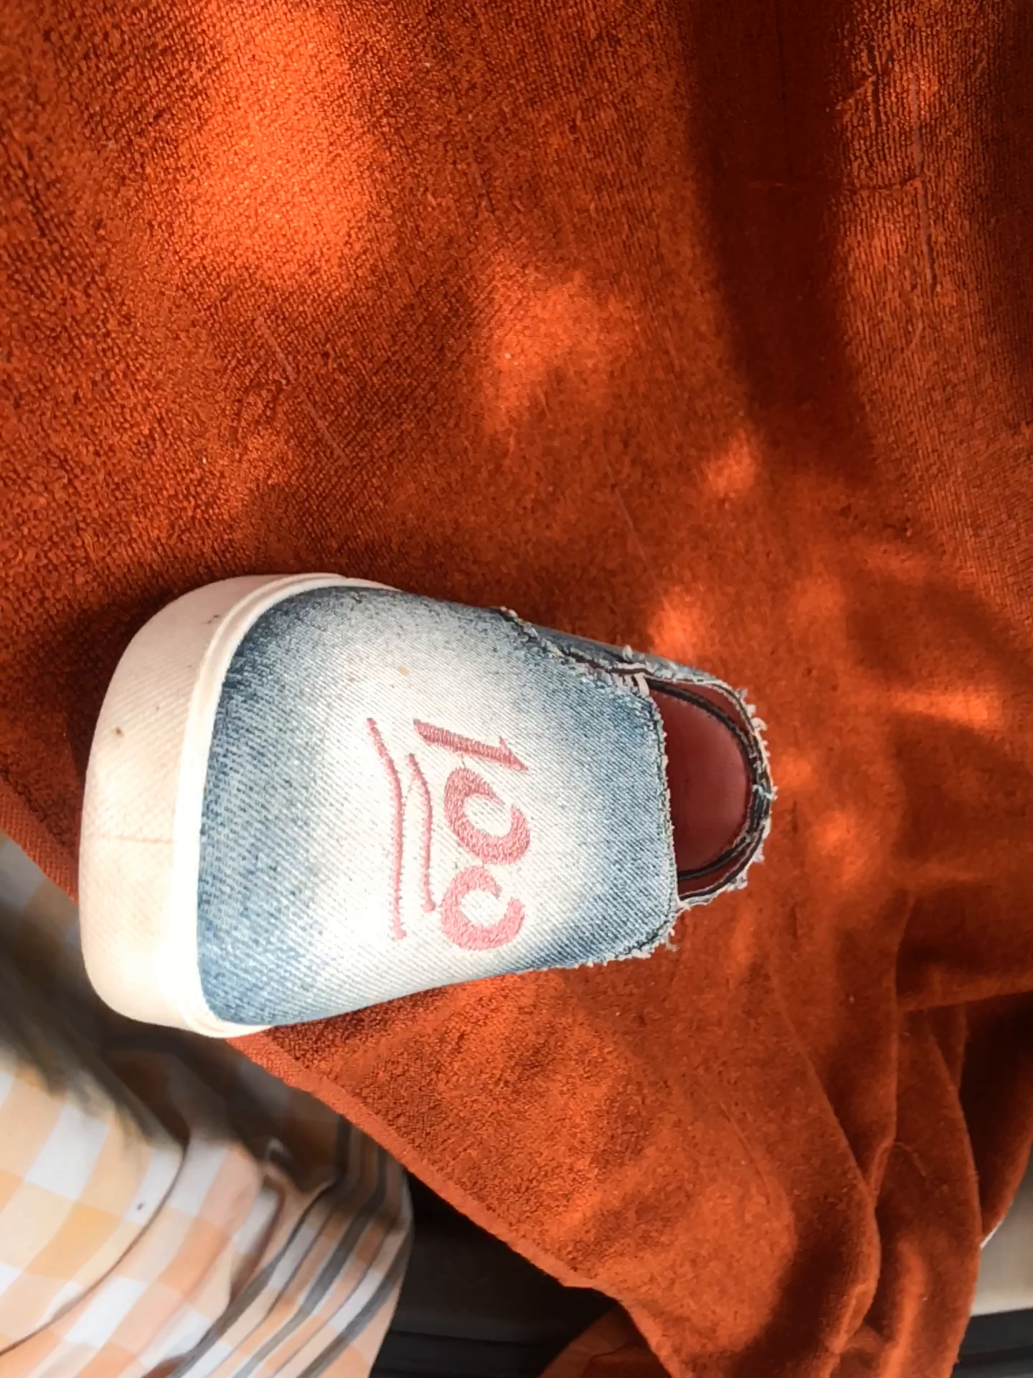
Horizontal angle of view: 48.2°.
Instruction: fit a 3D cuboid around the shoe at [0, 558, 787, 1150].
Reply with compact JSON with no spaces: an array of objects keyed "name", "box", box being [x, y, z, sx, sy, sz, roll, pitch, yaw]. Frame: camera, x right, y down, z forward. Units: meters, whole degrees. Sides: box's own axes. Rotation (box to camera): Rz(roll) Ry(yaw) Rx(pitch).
[{"name":"shoe","box":[-0.011,0.027,0.304,0.242,0.079,0.090,3,93,-58]}]
